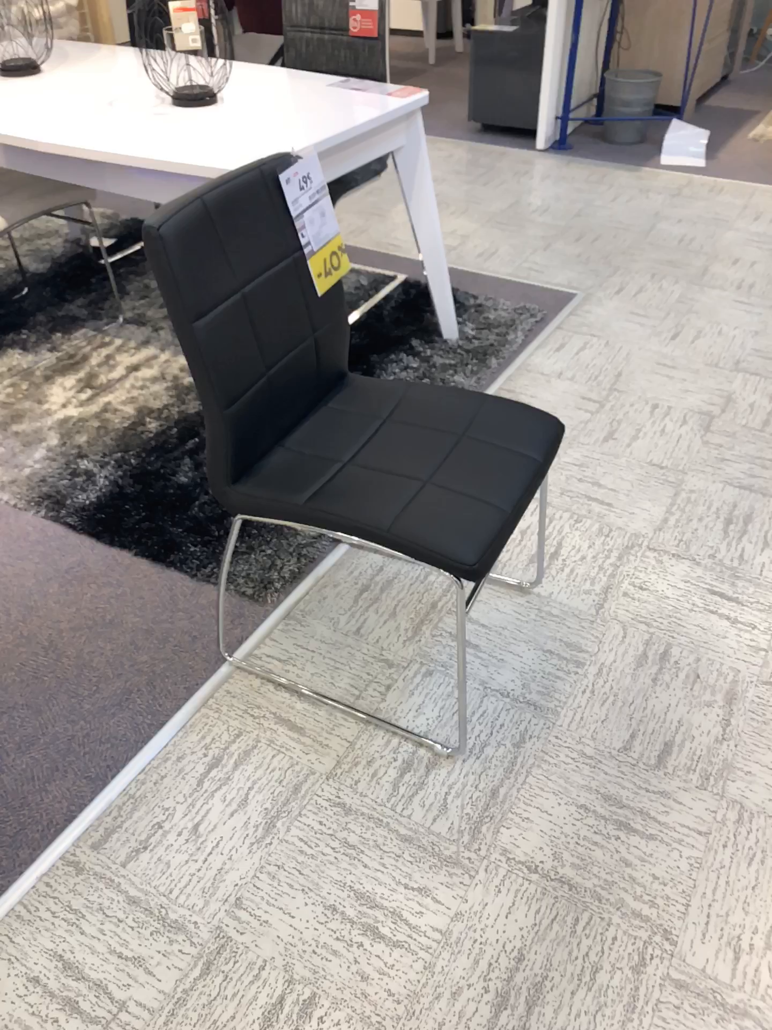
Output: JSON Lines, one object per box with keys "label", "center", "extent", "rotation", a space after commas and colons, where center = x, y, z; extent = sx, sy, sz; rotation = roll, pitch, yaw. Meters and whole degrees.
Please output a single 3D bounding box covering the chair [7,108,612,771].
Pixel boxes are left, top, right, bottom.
{"label": "chair", "center": [-0.067, -0.145, 1.393], "extent": [0.630, 0.795, 0.554], "rotation": [16, 41, 19]}
